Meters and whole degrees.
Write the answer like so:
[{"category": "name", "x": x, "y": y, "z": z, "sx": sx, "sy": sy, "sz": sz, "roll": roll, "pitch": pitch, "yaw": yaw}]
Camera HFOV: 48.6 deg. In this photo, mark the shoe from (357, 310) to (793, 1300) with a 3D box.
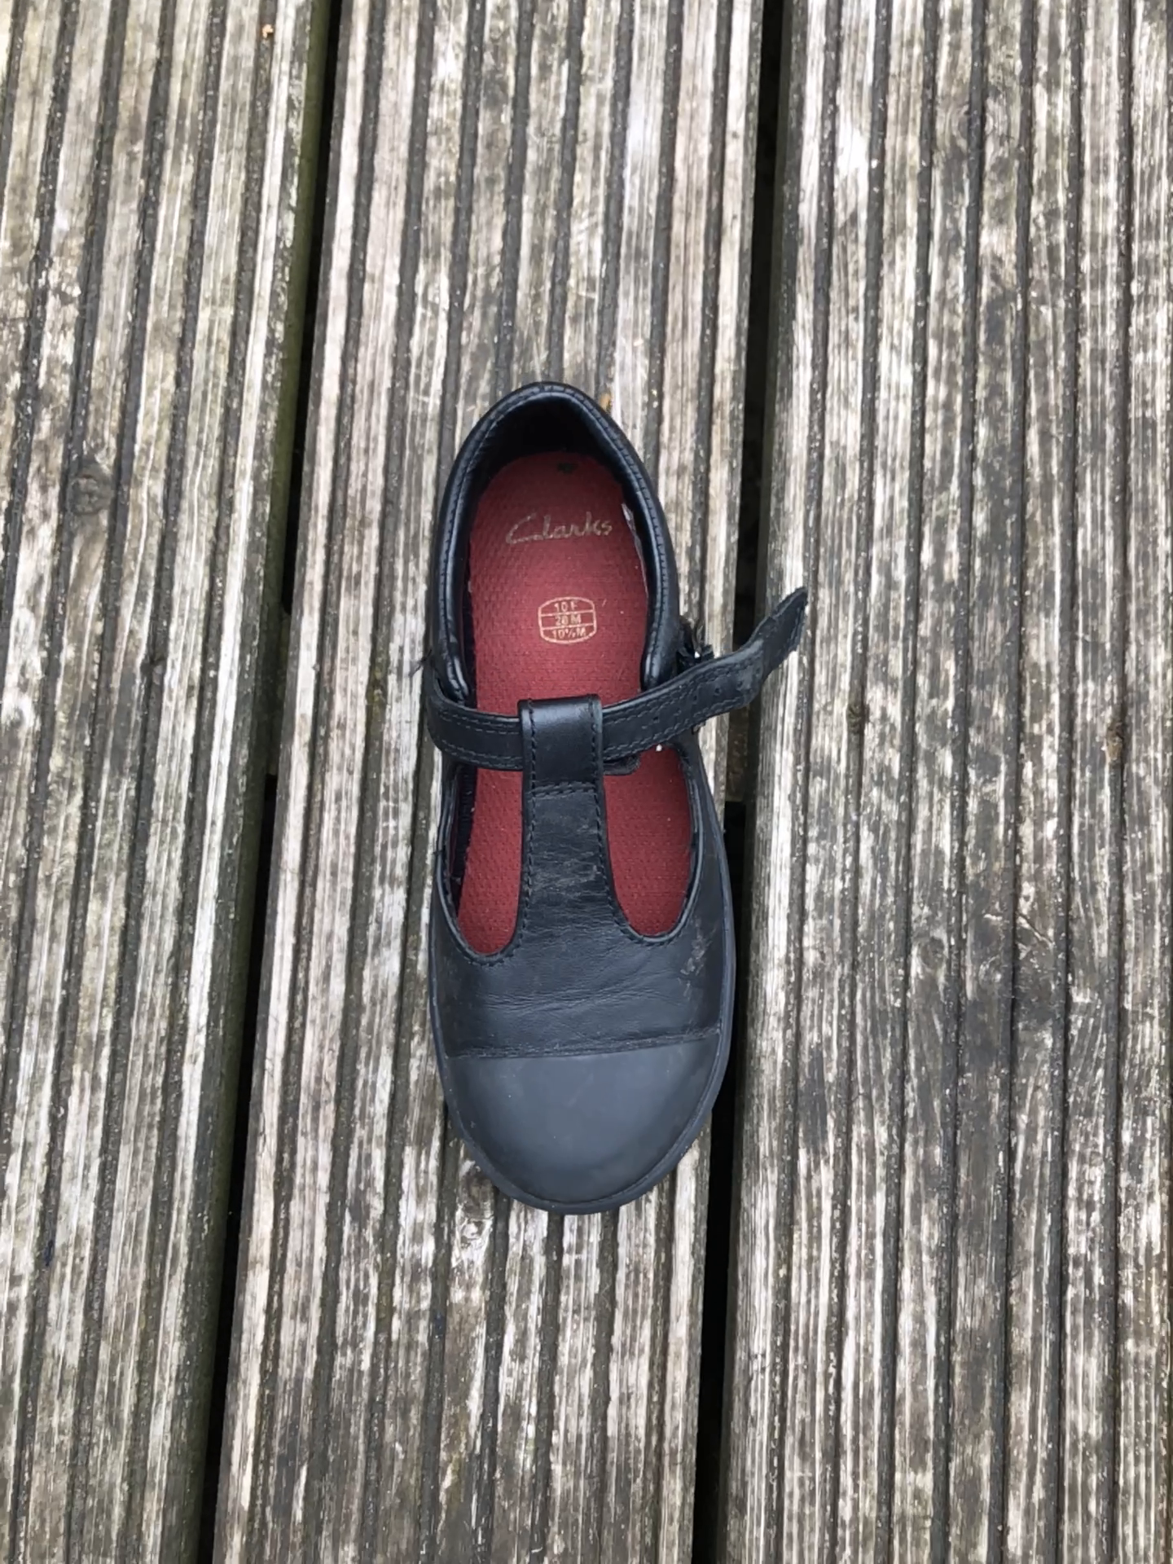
[{"category": "shoe", "x": -0.001, "y": 0.005, "z": 0.295, "sx": 0.080, "sy": 0.080, "sz": 0.193, "roll": 2, "pitch": 84, "yaw": 0}]
